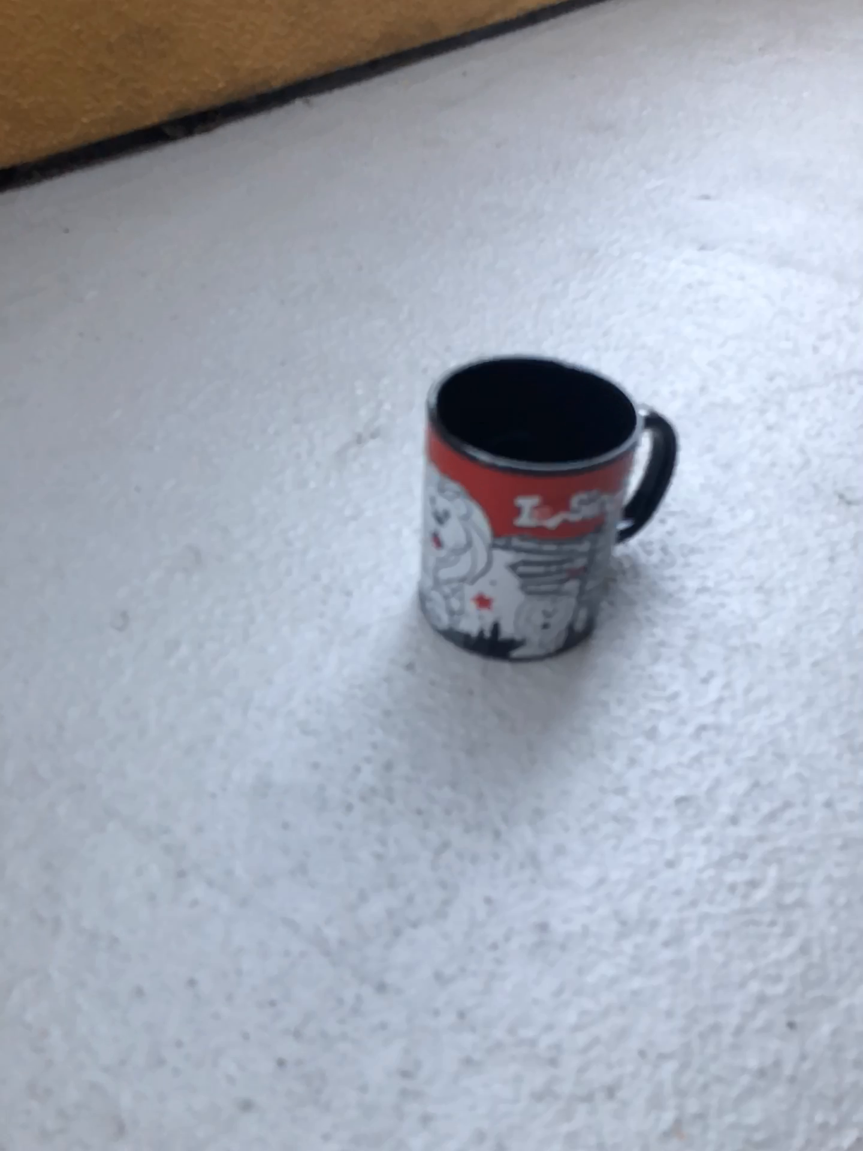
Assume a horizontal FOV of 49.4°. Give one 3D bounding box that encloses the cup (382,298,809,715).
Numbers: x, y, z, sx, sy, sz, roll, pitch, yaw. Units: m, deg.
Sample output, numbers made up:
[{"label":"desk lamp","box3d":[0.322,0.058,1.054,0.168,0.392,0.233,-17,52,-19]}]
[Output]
[{"label":"cup","box3d":[0.058,-0.031,0.375,0.130,0.109,0.080,-20,47,-26]}]
